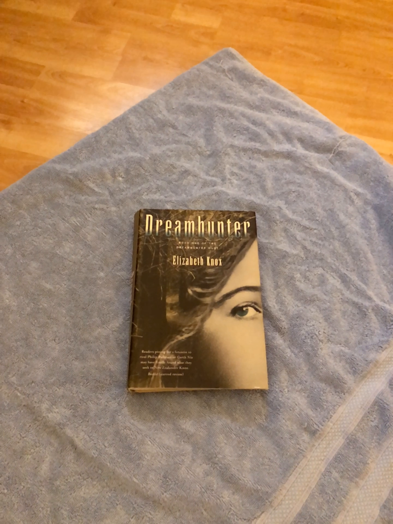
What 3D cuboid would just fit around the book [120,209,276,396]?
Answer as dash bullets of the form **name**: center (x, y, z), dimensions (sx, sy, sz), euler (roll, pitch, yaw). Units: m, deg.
- **book**: center (-0.001, 0.040, 0.518), dimensions (0.163, 0.030, 0.225), euler (0, 63, -3)
